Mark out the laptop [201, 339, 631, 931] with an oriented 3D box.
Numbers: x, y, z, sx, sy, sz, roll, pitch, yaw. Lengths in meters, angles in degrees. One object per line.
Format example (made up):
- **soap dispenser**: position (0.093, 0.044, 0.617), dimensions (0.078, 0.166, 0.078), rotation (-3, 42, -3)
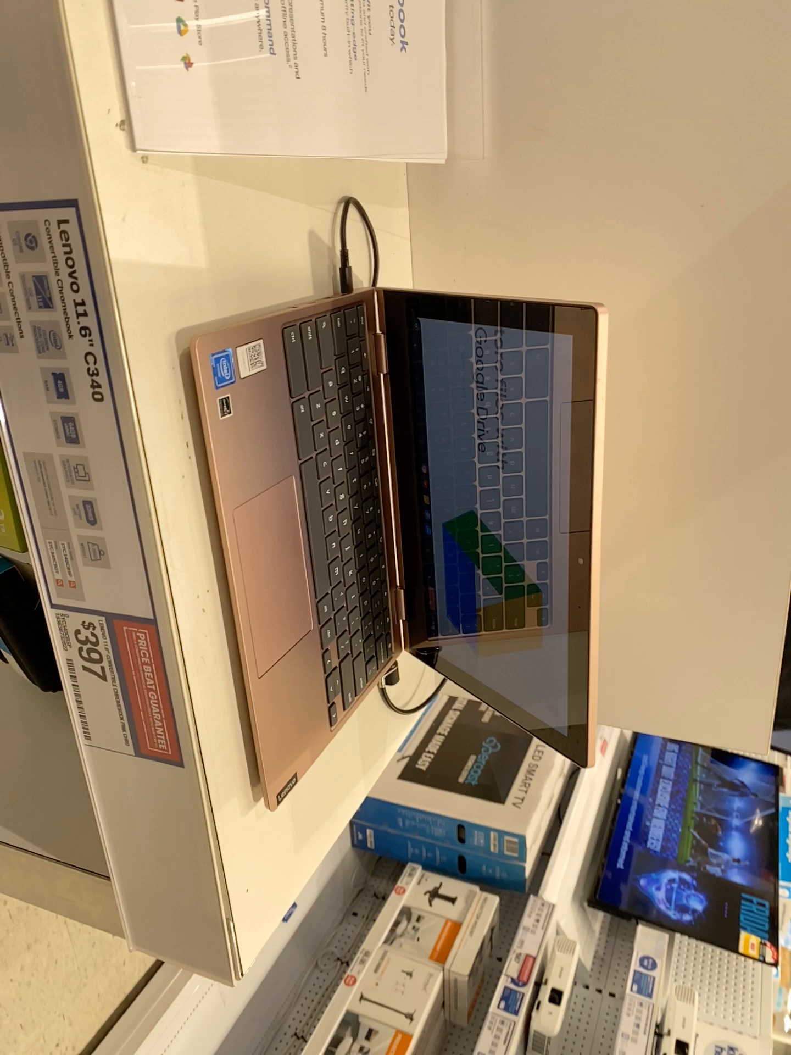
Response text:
- **laptop**: position (0.034, 0.043, 0.491), dimensions (0.197, 0.168, 0.280), rotation (-43, 134, -57)
